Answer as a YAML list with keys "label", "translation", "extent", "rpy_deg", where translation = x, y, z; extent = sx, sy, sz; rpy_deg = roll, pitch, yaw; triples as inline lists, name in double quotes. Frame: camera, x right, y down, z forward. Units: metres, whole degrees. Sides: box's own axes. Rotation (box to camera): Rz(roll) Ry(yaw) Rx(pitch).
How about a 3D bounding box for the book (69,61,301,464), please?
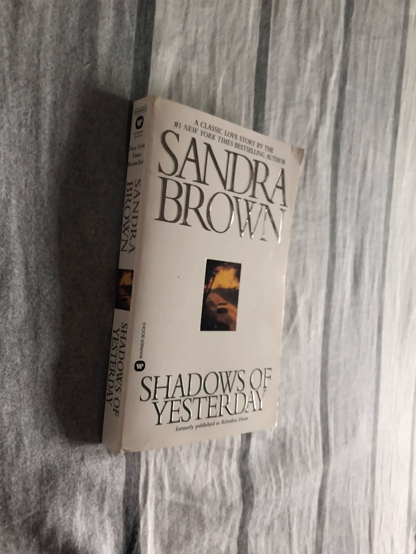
- label: "book"
  translation: [-0.004, -0.003, 0.258]
  extent: [0.121, 0.030, 0.180]
  rpy_deg: [8, 88, -44]
